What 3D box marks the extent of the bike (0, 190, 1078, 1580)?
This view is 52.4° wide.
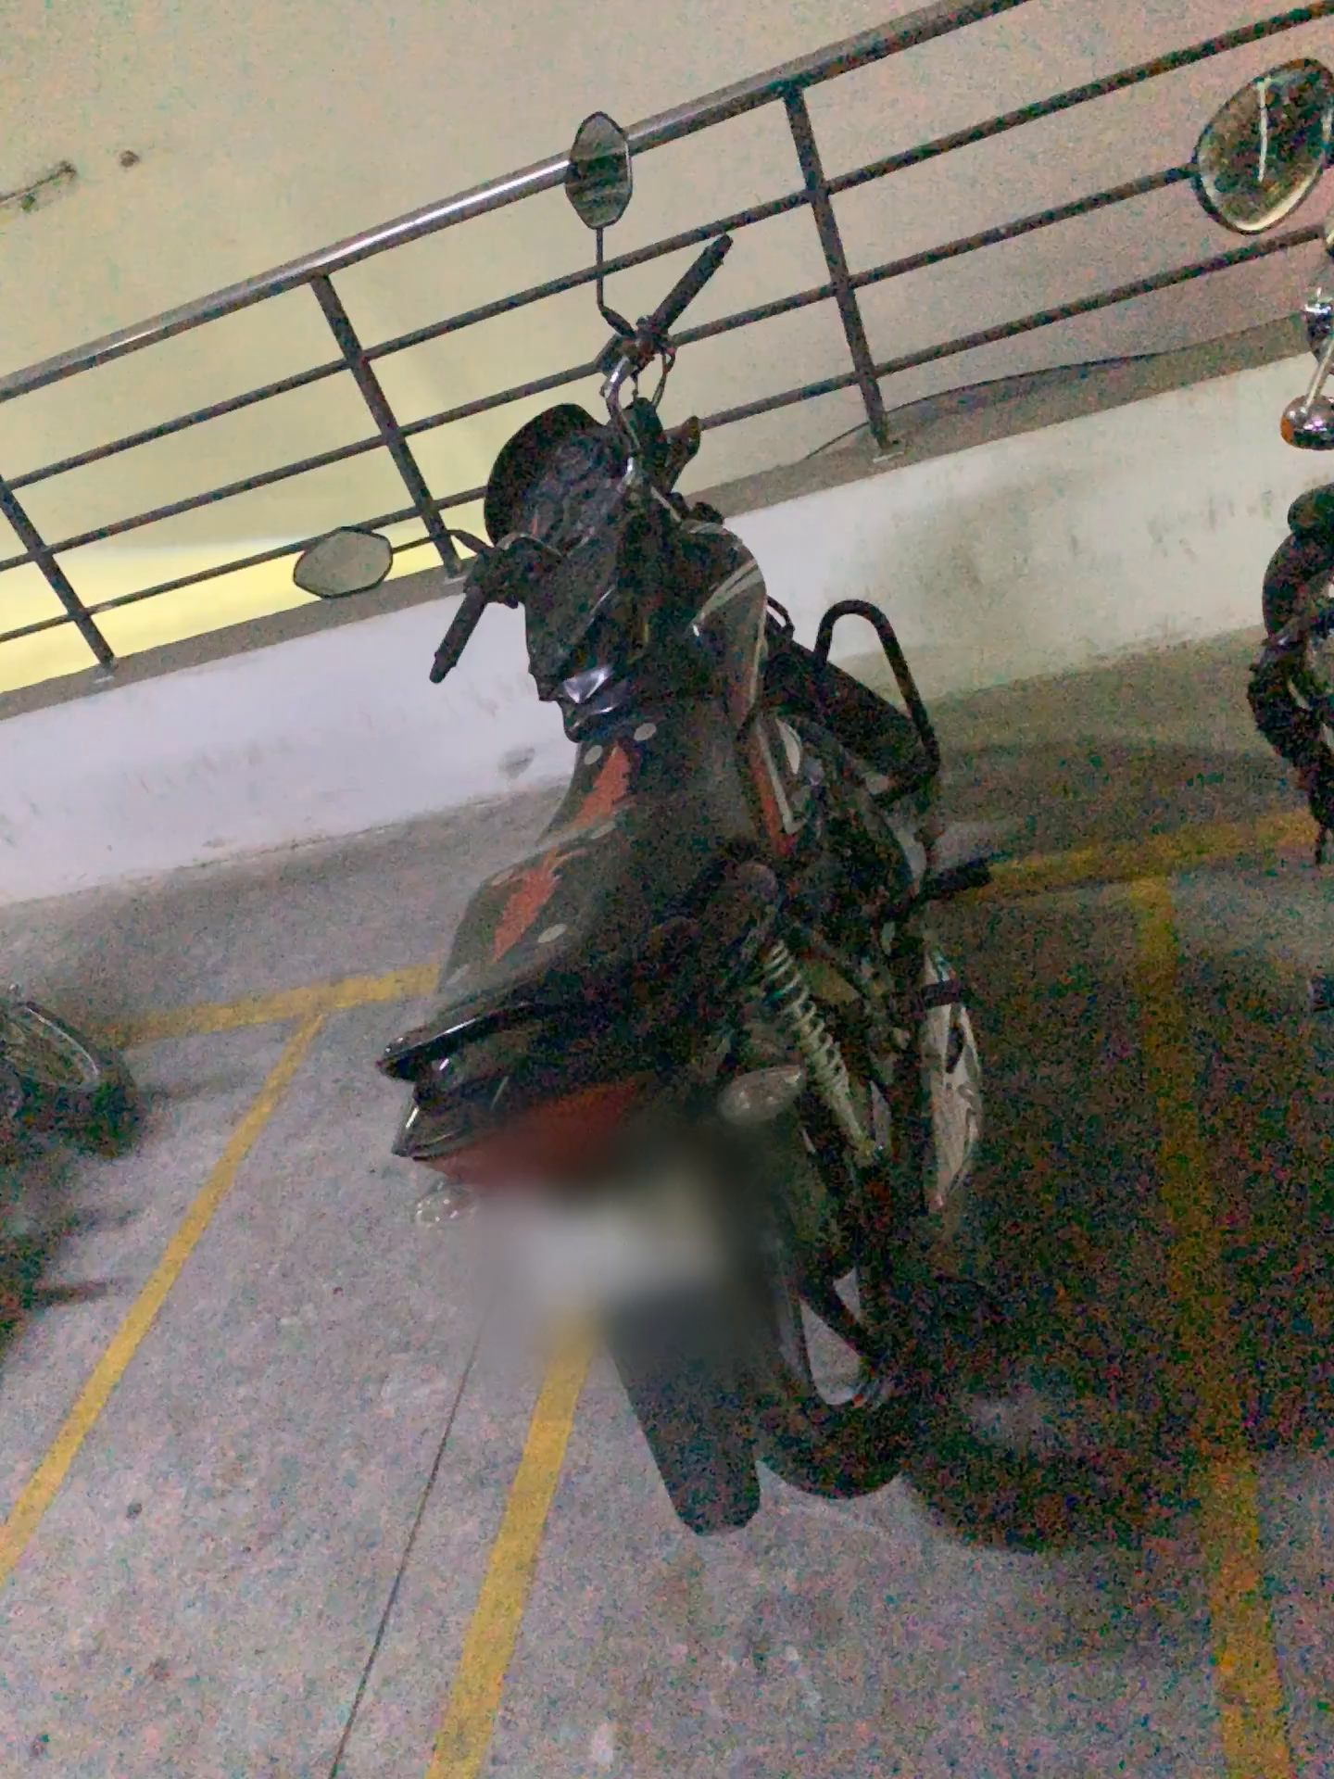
[{"bbox_3d":[-0.148,-0.174,1.922,0.755,1.067,1.685,-17,33,10],"label":"bike"}]
